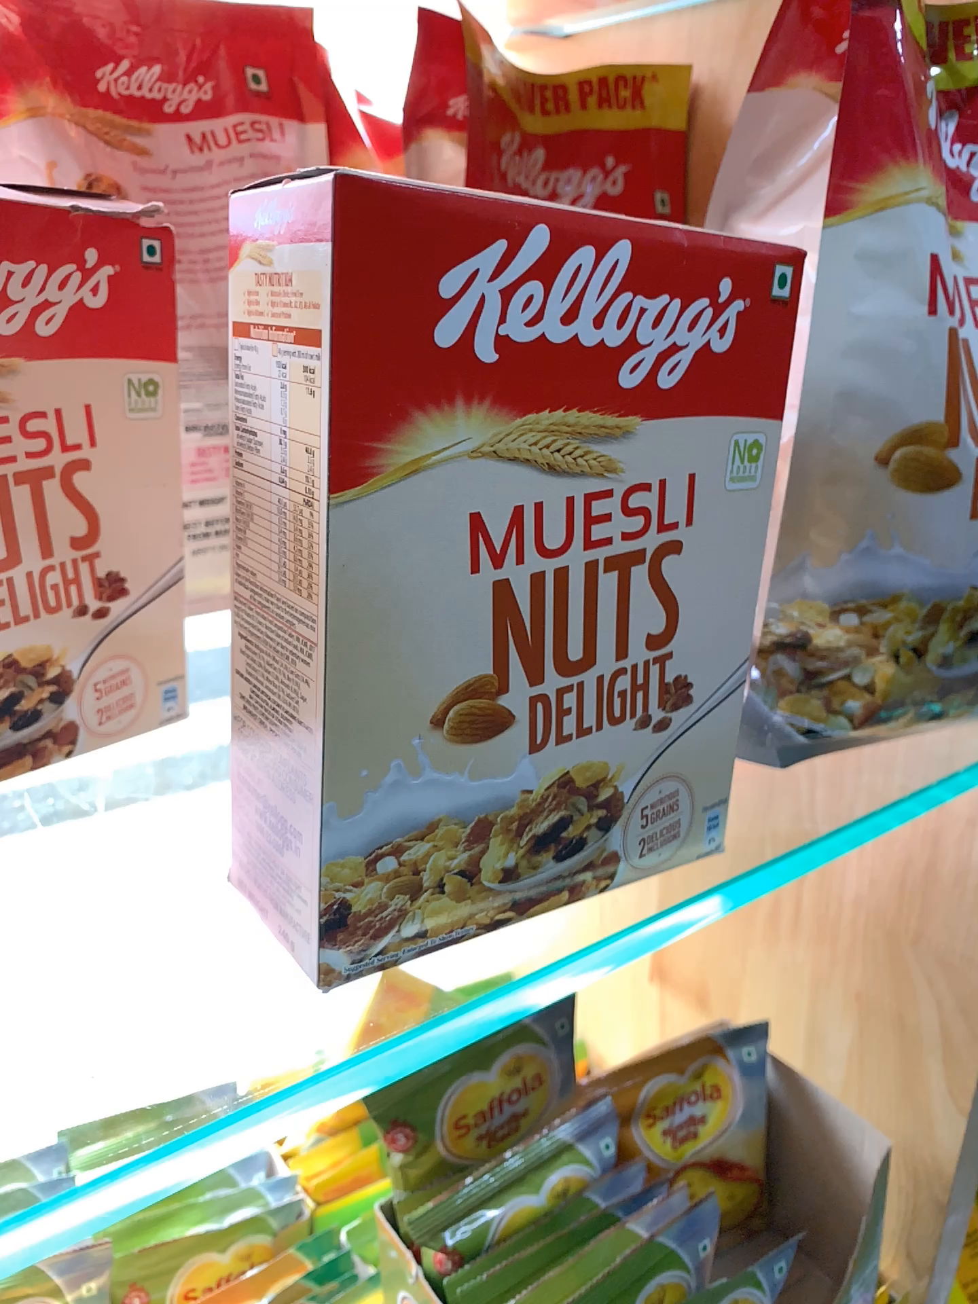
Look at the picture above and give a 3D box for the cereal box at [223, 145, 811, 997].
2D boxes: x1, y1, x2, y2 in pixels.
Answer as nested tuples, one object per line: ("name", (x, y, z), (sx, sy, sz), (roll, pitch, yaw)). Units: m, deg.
("cereal box", (0.006, -0.021, 0.256), (0.130, 0.169, 0.050), (-8, 20, -35))
